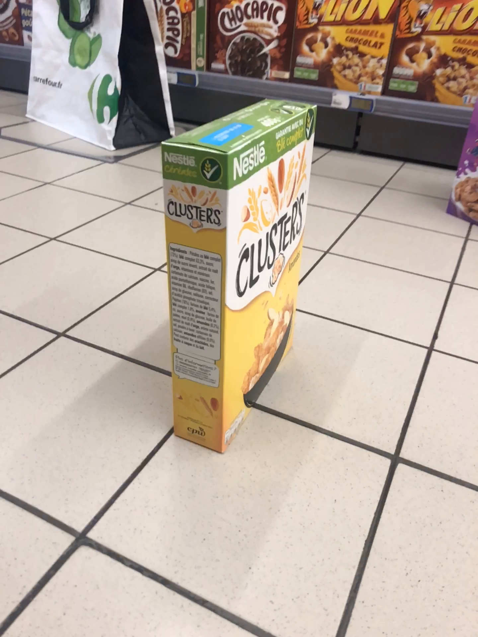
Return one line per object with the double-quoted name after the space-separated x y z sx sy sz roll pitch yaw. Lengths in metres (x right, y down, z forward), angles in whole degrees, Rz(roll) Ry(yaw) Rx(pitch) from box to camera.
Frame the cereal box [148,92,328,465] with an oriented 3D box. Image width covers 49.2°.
0.007 -0.044 0.486 0.060 0.278 0.211 15 34 20 "cereal box"
